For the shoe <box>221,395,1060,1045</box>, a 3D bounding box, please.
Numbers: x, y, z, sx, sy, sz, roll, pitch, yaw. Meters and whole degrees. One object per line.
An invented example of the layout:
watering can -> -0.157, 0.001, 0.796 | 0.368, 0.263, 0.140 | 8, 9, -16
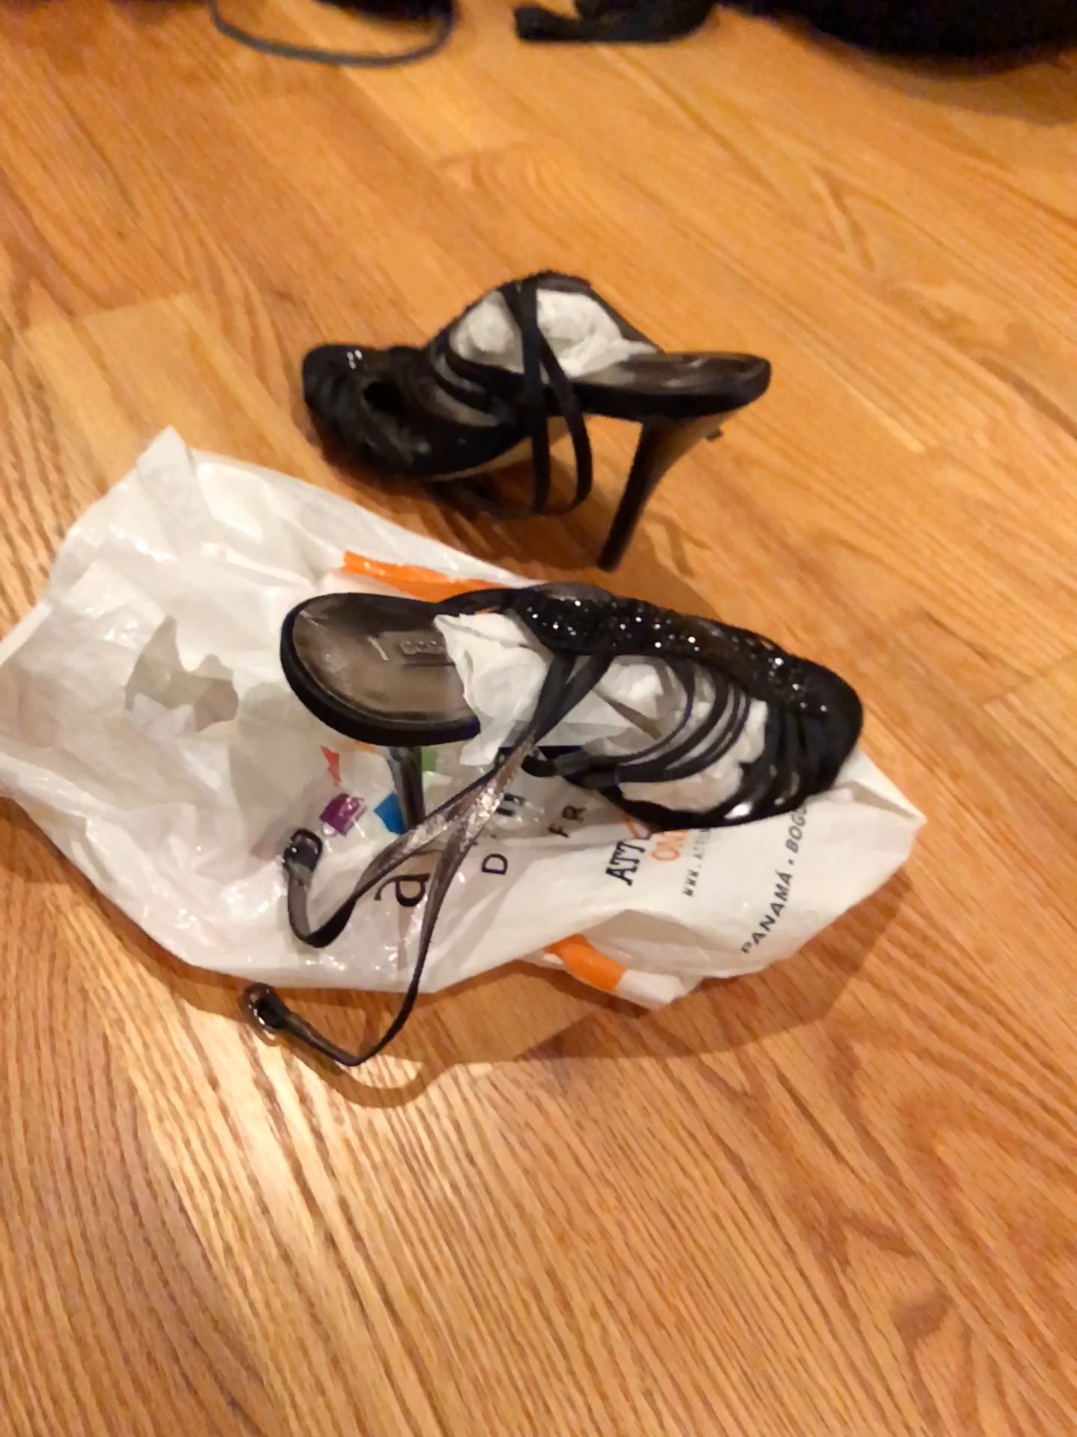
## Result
shoe -> 0.027, -0.005, 0.372 | 0.218, 0.112, 0.092 | -19, 58, -22

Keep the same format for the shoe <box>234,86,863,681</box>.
shoe -> -0.006, -0.135, 0.469 | 0.217, 0.112, 0.091 | 36, 56, 18
